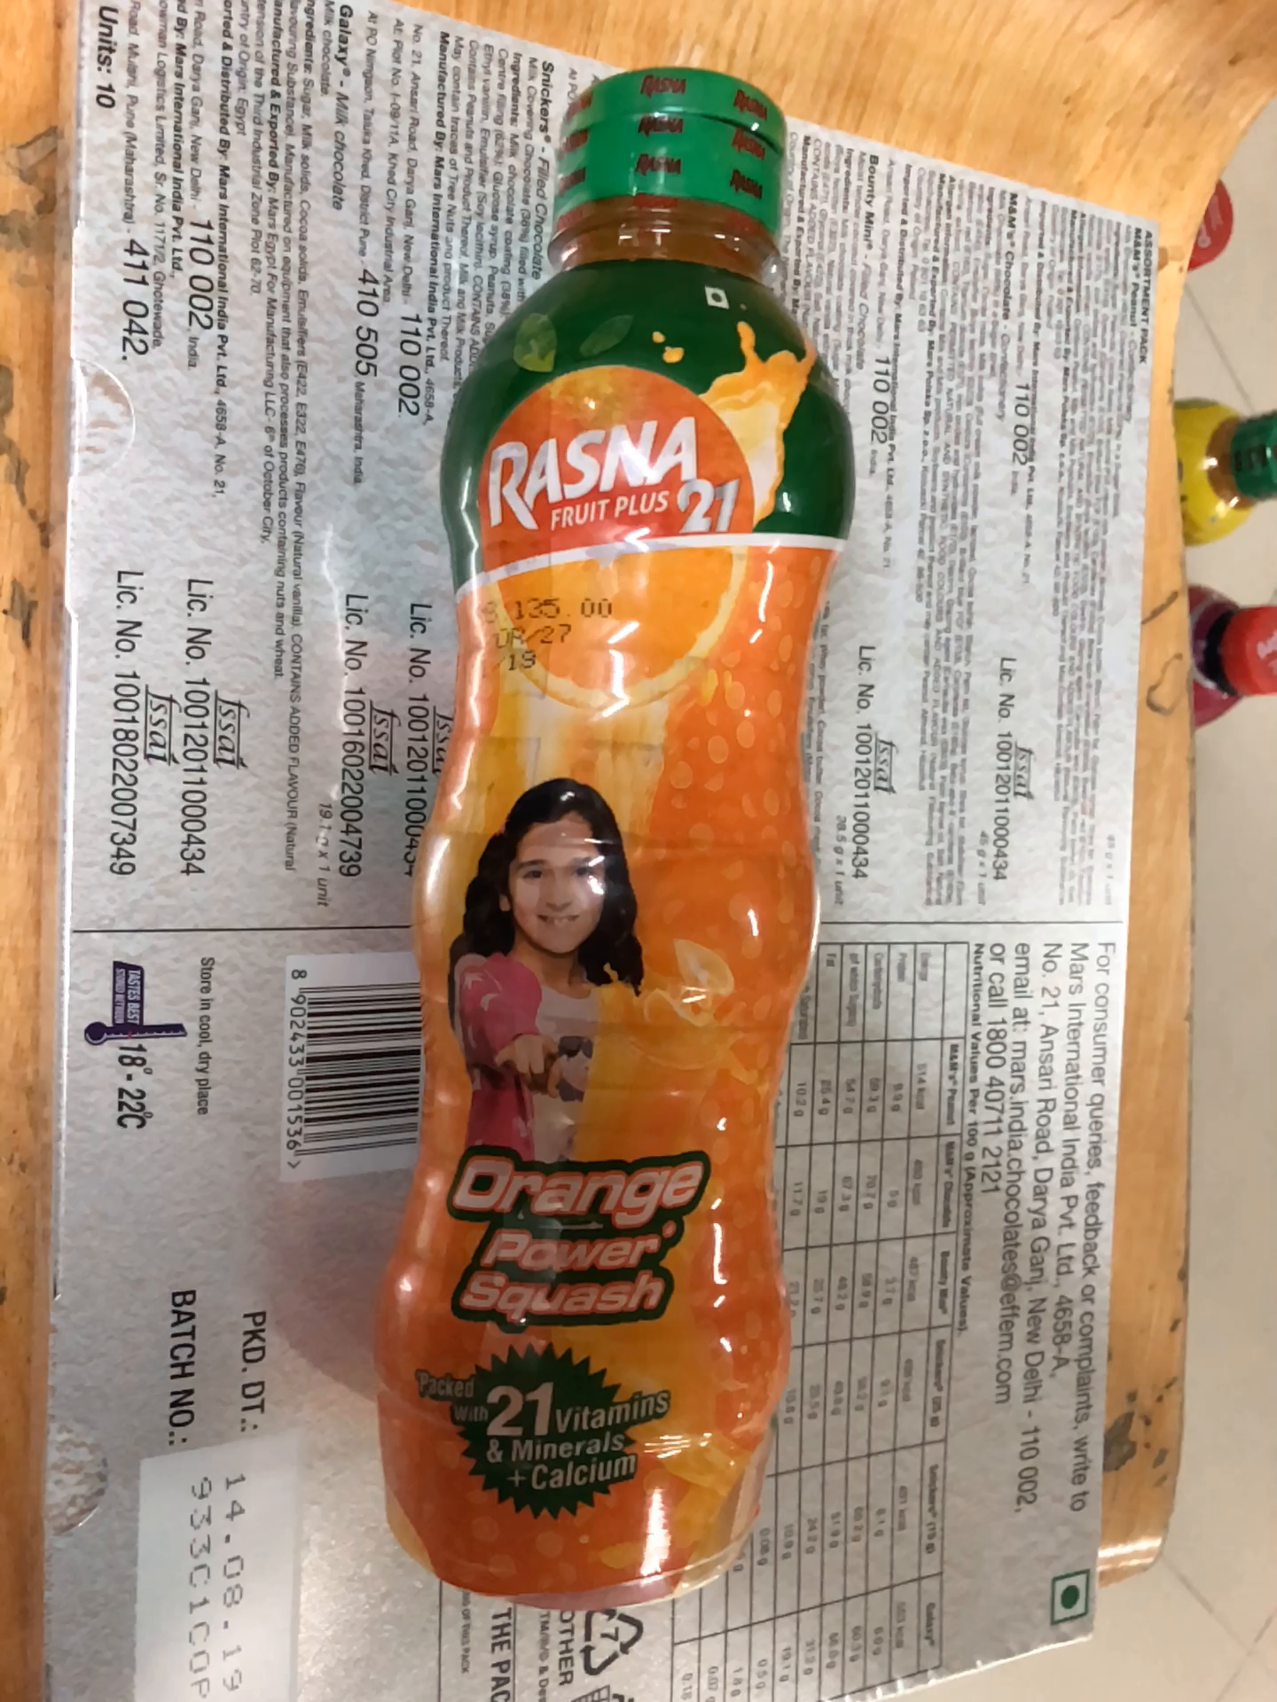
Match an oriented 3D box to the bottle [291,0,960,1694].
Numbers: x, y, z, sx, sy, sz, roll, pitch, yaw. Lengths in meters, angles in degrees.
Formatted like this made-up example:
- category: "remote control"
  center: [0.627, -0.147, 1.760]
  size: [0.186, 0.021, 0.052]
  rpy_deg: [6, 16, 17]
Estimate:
- category: "bottle"
  center: [0.001, -0.011, 0.242]
  size: [0.080, 0.070, 0.250]
  rpy_deg: [-2, 96, -63]
